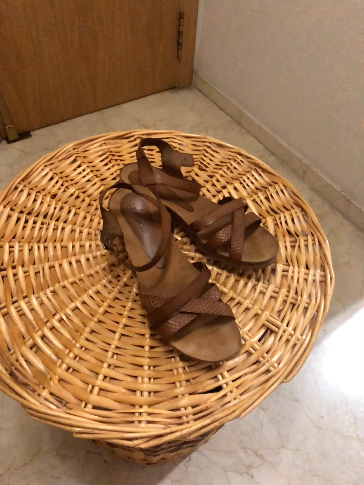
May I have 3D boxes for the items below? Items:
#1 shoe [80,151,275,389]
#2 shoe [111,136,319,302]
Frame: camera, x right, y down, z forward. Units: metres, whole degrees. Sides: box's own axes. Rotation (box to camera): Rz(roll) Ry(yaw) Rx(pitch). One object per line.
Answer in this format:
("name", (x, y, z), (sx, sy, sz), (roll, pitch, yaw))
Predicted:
("shoe", (-0.019, 0.022, 0.500), (0.100, 0.070, 0.280), (-25, 66, -22))
("shoe", (0.037, -0.045, 0.574), (0.280, 0.060, 0.100), (34, 57, 20))
